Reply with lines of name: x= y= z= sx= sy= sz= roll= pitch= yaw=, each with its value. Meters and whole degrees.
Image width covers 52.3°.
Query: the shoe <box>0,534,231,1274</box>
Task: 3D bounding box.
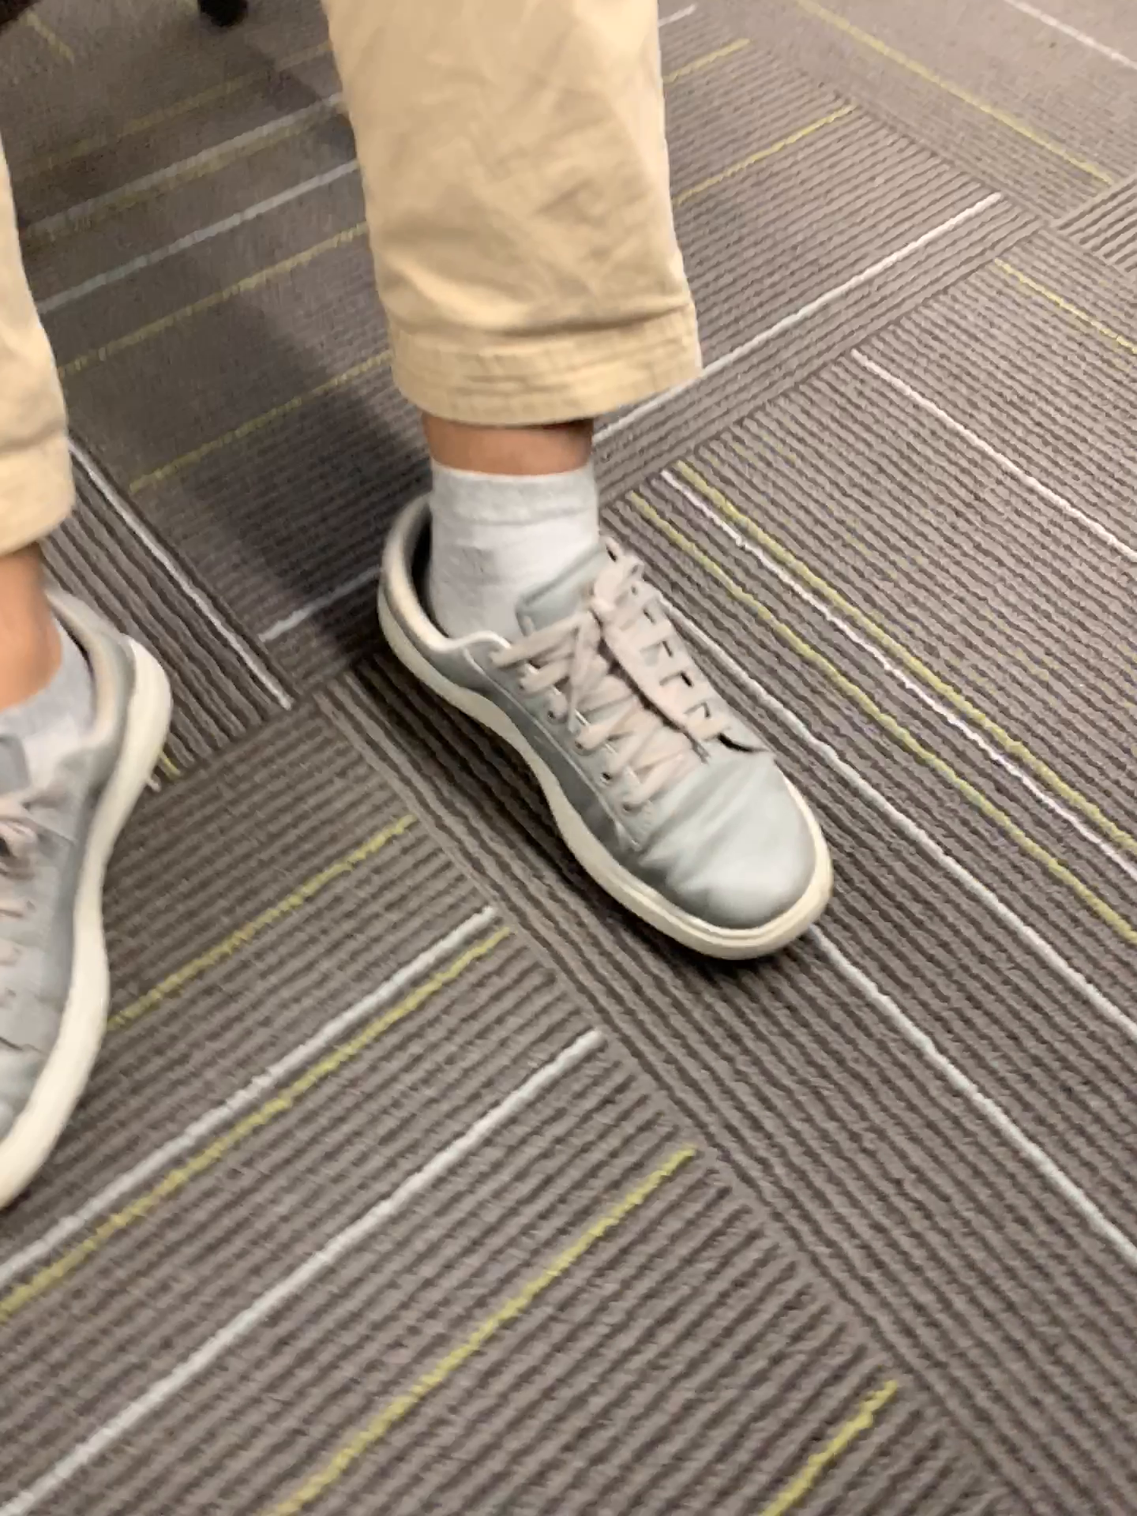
shoe: x=-0.250 y=0.058 z=0.492 sx=0.120 sy=0.140 sz=0.271 roll=4 pitch=59 yaw=2

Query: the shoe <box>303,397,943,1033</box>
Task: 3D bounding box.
shoe: x=0.014 y=-0.028 z=0.551 sx=0.120 sy=0.110 sz=0.281 roll=-37 pitch=66 yaw=-20
